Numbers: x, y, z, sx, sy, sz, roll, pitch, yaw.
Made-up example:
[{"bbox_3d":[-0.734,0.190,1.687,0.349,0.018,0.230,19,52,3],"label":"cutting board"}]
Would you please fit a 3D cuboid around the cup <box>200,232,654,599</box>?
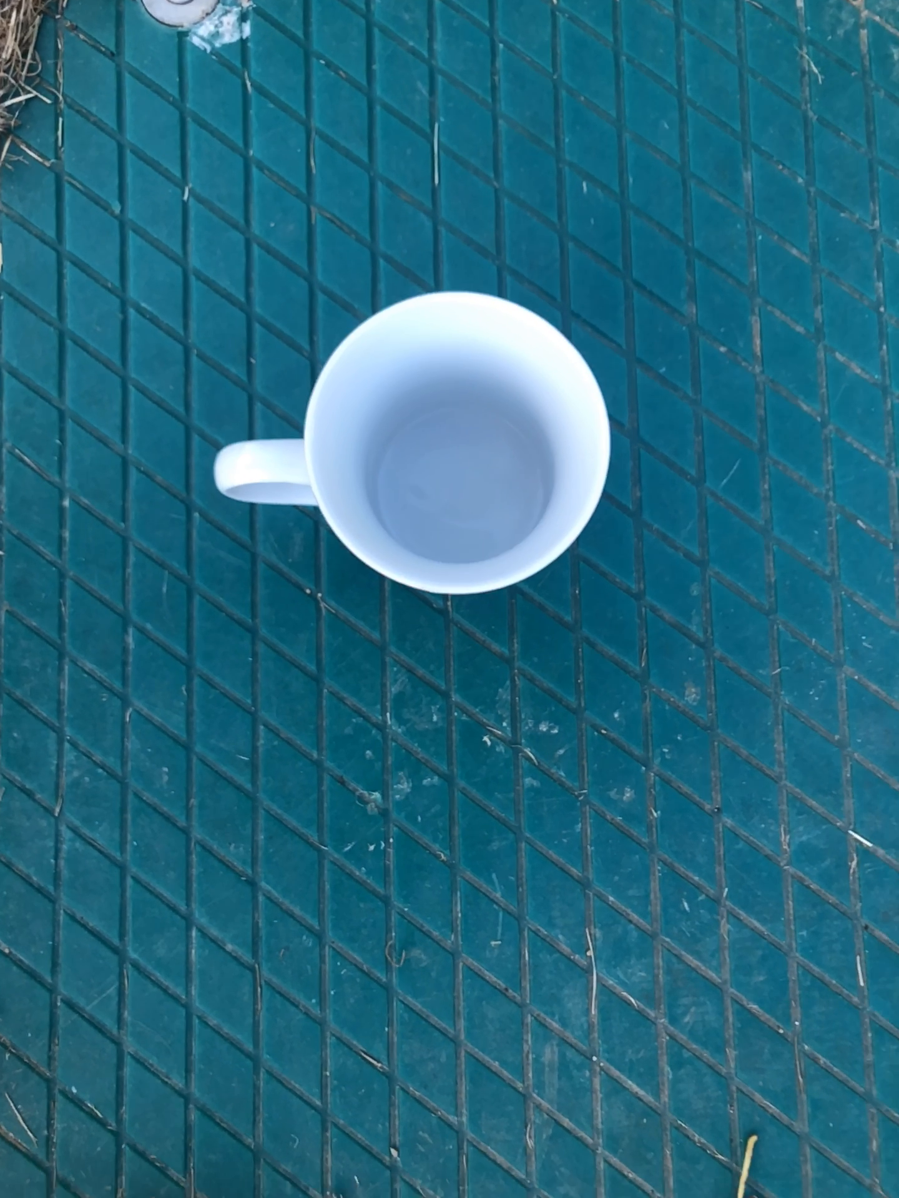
[{"bbox_3d":[-0.006,-0.046,0.283,0.110,0.071,0.082,-2,85,1],"label":"cup"}]
